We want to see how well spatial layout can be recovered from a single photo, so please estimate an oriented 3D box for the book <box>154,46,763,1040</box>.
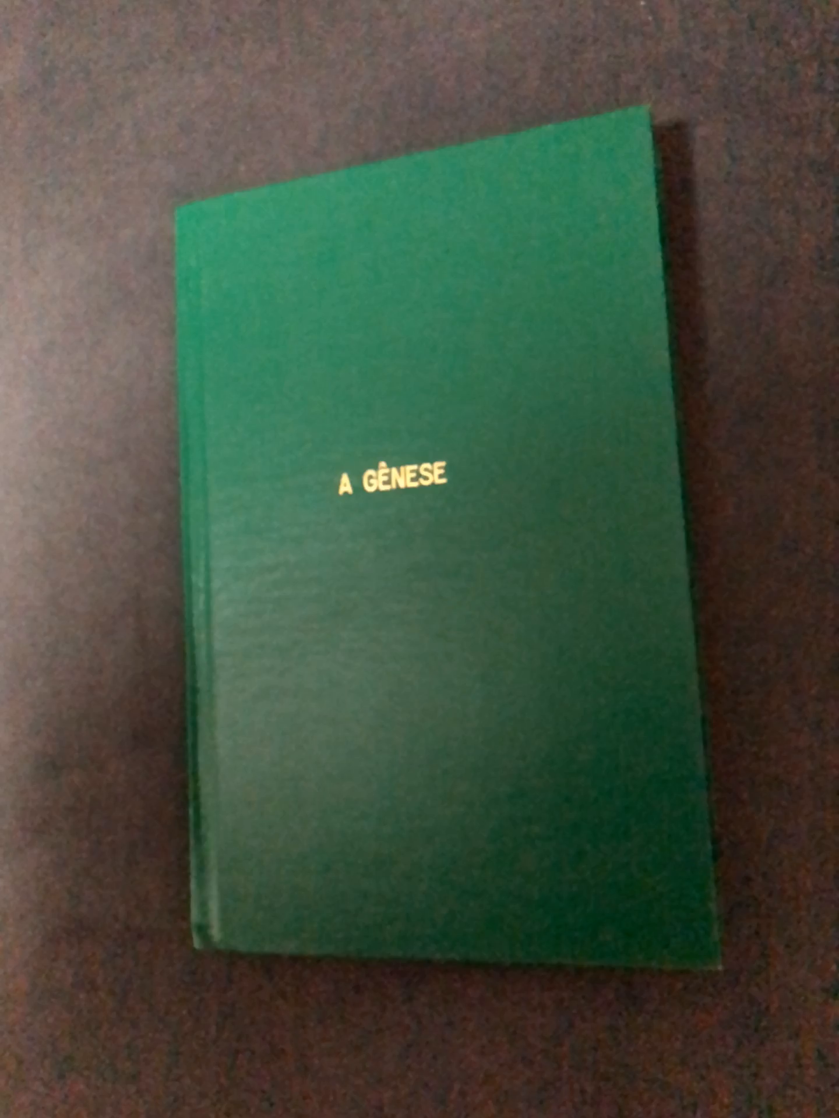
[{"bbox_3d":[0.004,-0.003,0.265,0.150,0.040,0.240,-5,83,17],"label":"book"}]
